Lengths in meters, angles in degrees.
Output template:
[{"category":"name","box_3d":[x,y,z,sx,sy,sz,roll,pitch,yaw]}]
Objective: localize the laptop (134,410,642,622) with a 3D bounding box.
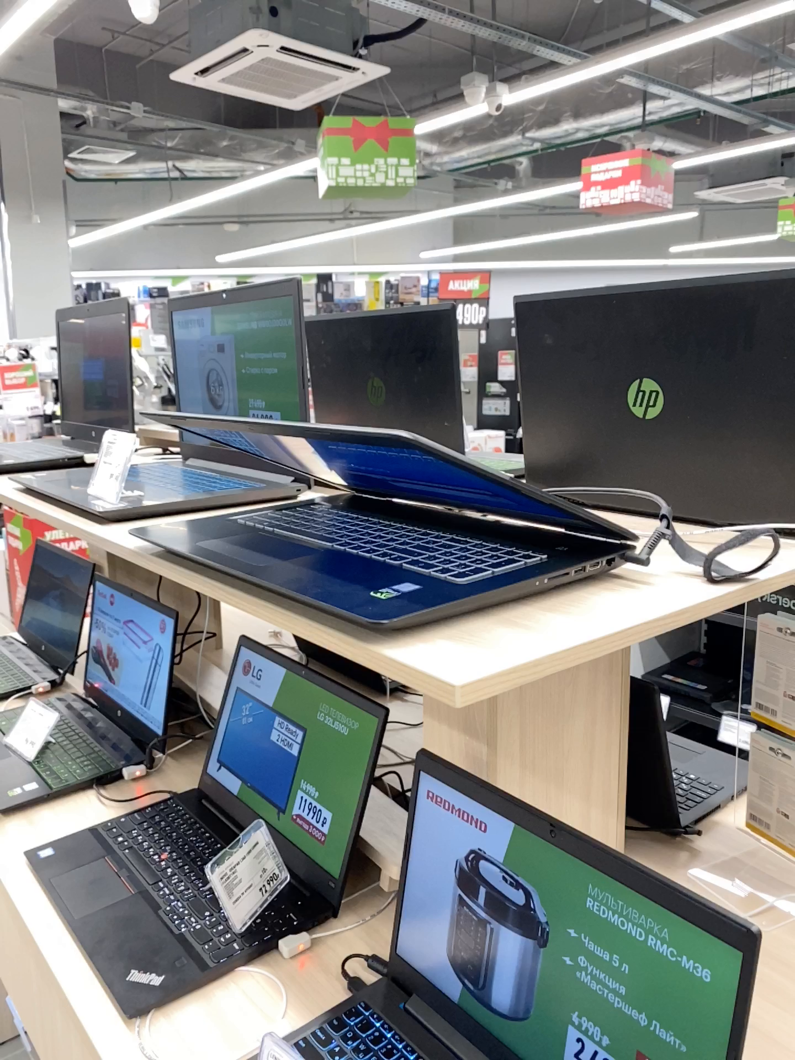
[{"category":"laptop","box_3d":[-0.031,-0.042,0.720,0.263,0.103,0.398,-11,14,-38]}]
